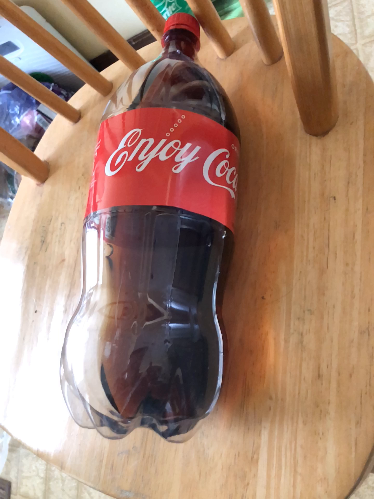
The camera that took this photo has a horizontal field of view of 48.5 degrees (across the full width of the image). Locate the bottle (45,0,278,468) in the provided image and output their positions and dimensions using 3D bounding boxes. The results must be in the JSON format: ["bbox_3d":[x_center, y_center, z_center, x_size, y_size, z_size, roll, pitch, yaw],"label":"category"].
[{"bbox_3d":[-0.016,-0.035,0.296,0.100,0.120,0.320,150,125,-67],"label":"bottle"}]
